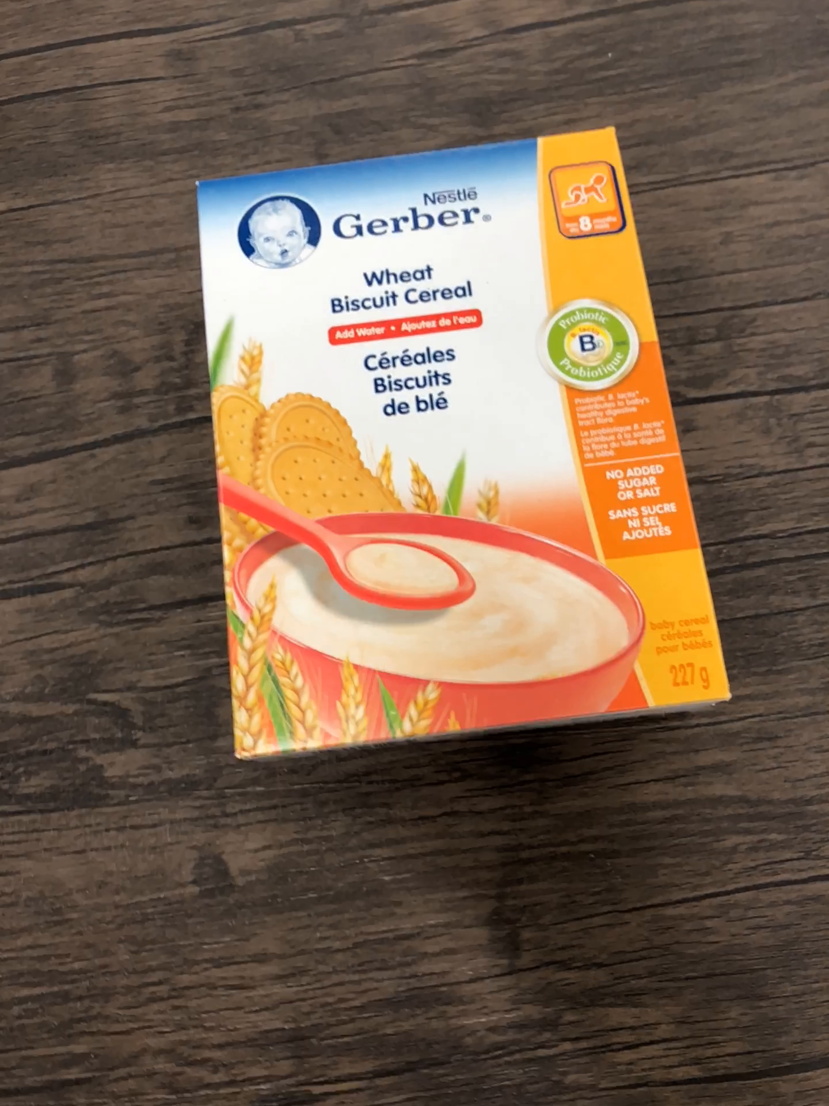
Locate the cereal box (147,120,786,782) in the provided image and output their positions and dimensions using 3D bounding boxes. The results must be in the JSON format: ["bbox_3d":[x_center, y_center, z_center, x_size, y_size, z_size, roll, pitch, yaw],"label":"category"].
[{"bbox_3d":[0.008,-0.032,0.283,0.160,0.040,0.180,-7,76,1],"label":"cereal box"}]
